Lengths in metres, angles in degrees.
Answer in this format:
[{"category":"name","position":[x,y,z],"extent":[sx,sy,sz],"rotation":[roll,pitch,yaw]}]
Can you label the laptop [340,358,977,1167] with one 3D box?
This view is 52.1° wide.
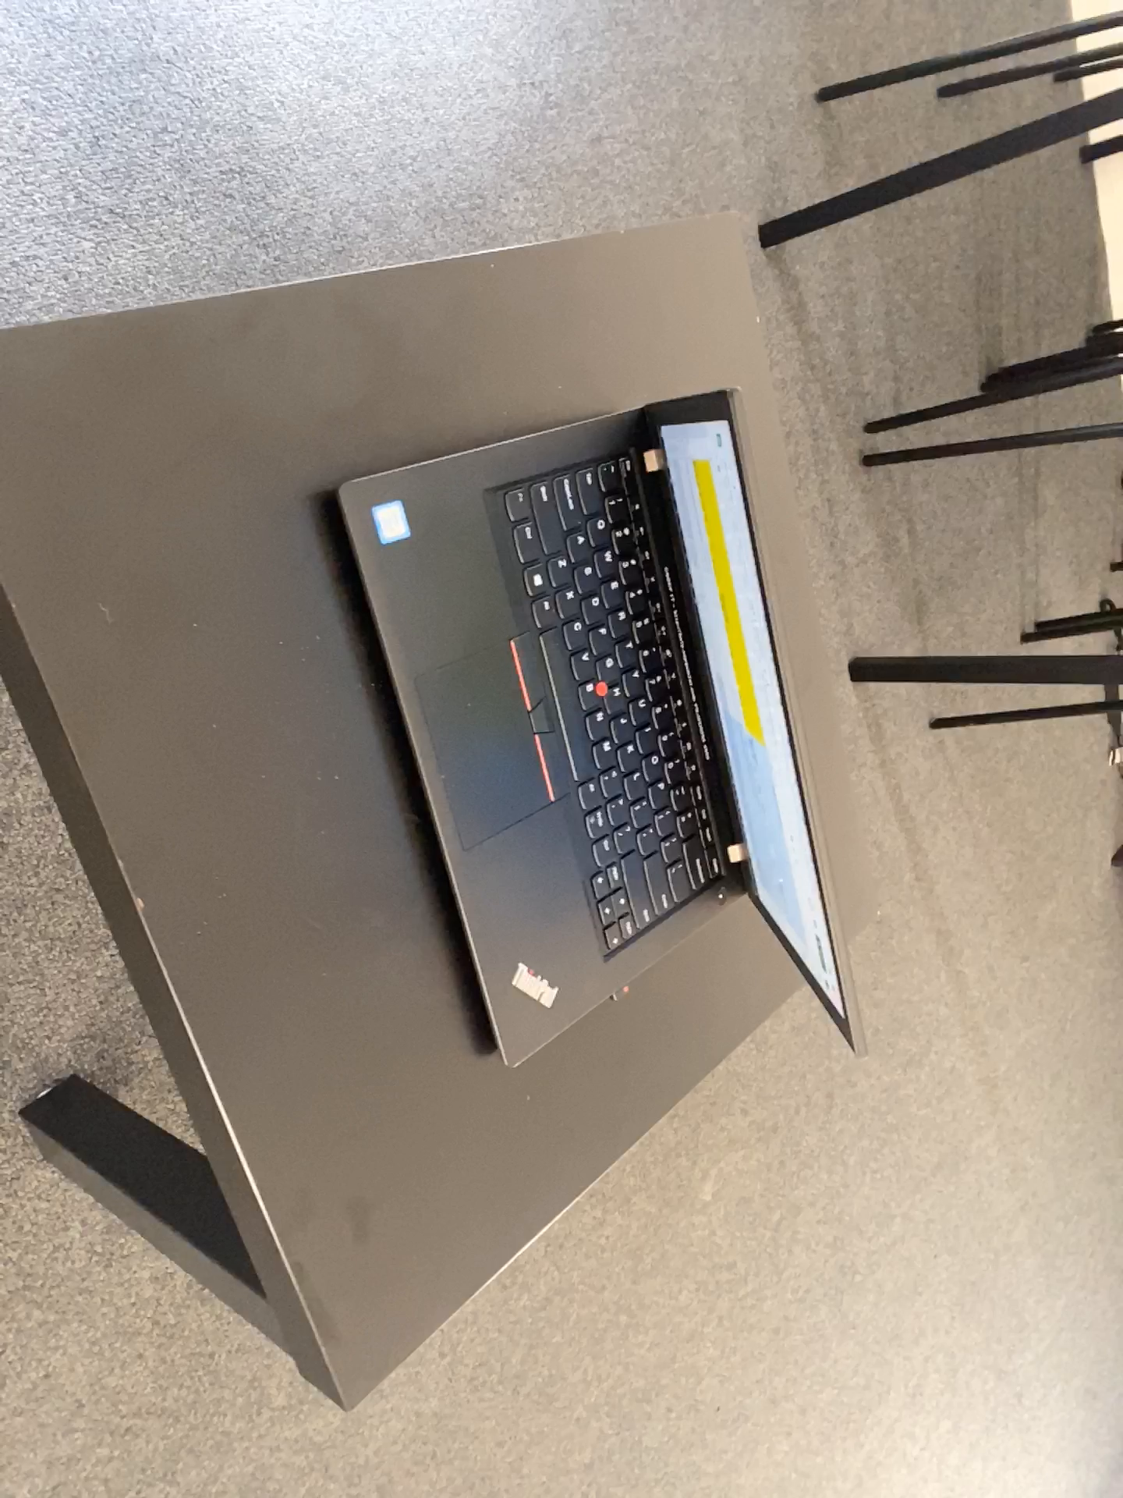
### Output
[{"category":"laptop","position":[0.067,-0.005,0.614],"extent":[0.224,0.165,0.332],"rotation":[-27,111,-38]}]
